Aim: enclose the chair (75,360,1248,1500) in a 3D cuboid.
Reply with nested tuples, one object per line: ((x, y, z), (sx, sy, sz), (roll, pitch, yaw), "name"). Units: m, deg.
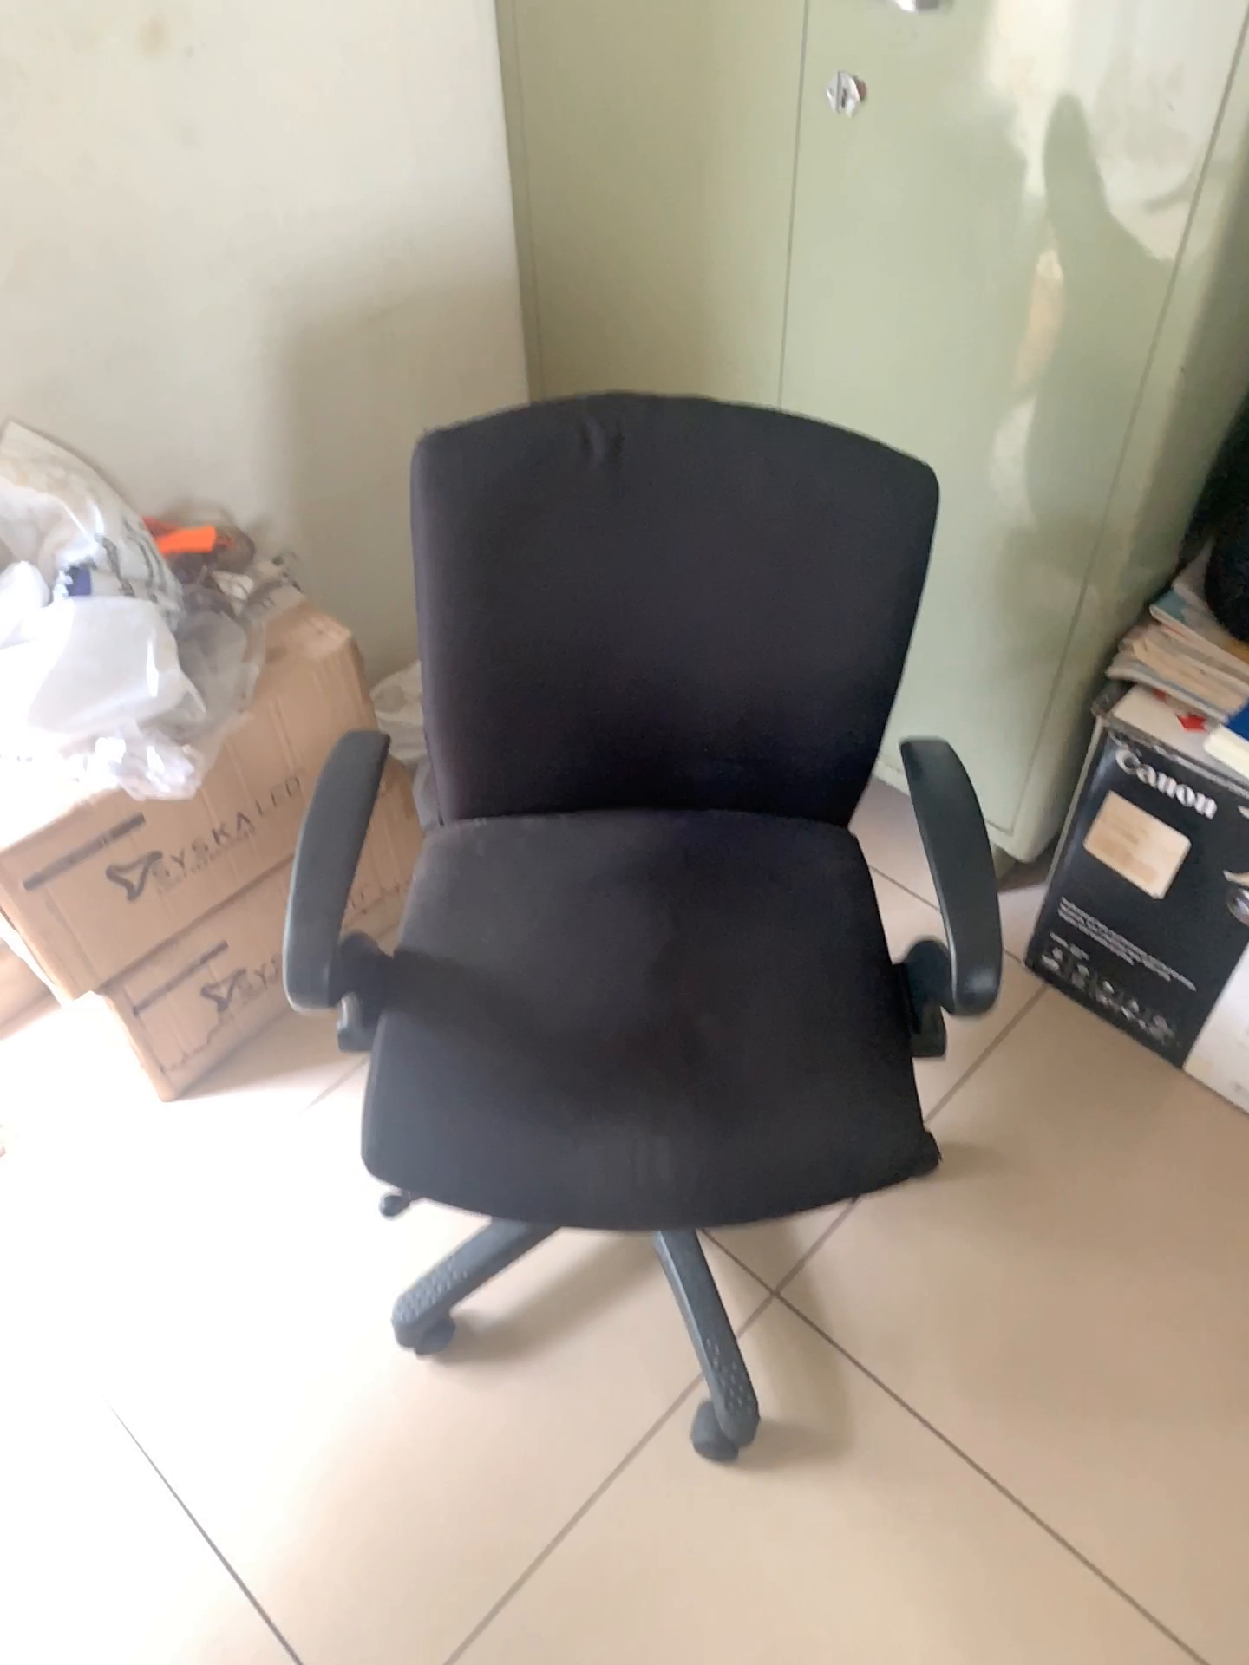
((0.048, 0.146, 1.280), (0.700, 0.926, 0.703), (-2, 48, 0), "chair")
